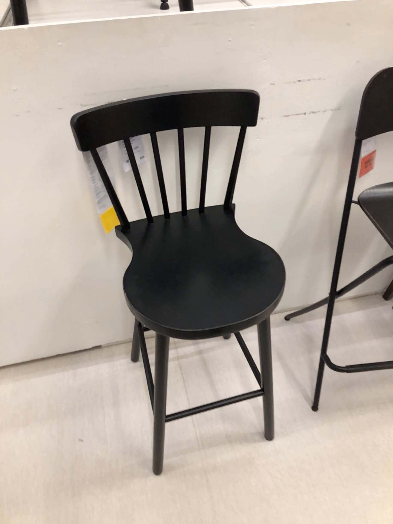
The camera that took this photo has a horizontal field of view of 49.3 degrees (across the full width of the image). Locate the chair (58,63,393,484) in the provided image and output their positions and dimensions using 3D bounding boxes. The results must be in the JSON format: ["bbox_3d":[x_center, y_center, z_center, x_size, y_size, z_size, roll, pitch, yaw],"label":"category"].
[{"bbox_3d":[0.014,0.073,1.058,0.460,0.874,0.483,-13,45,-11],"label":"chair"}]
